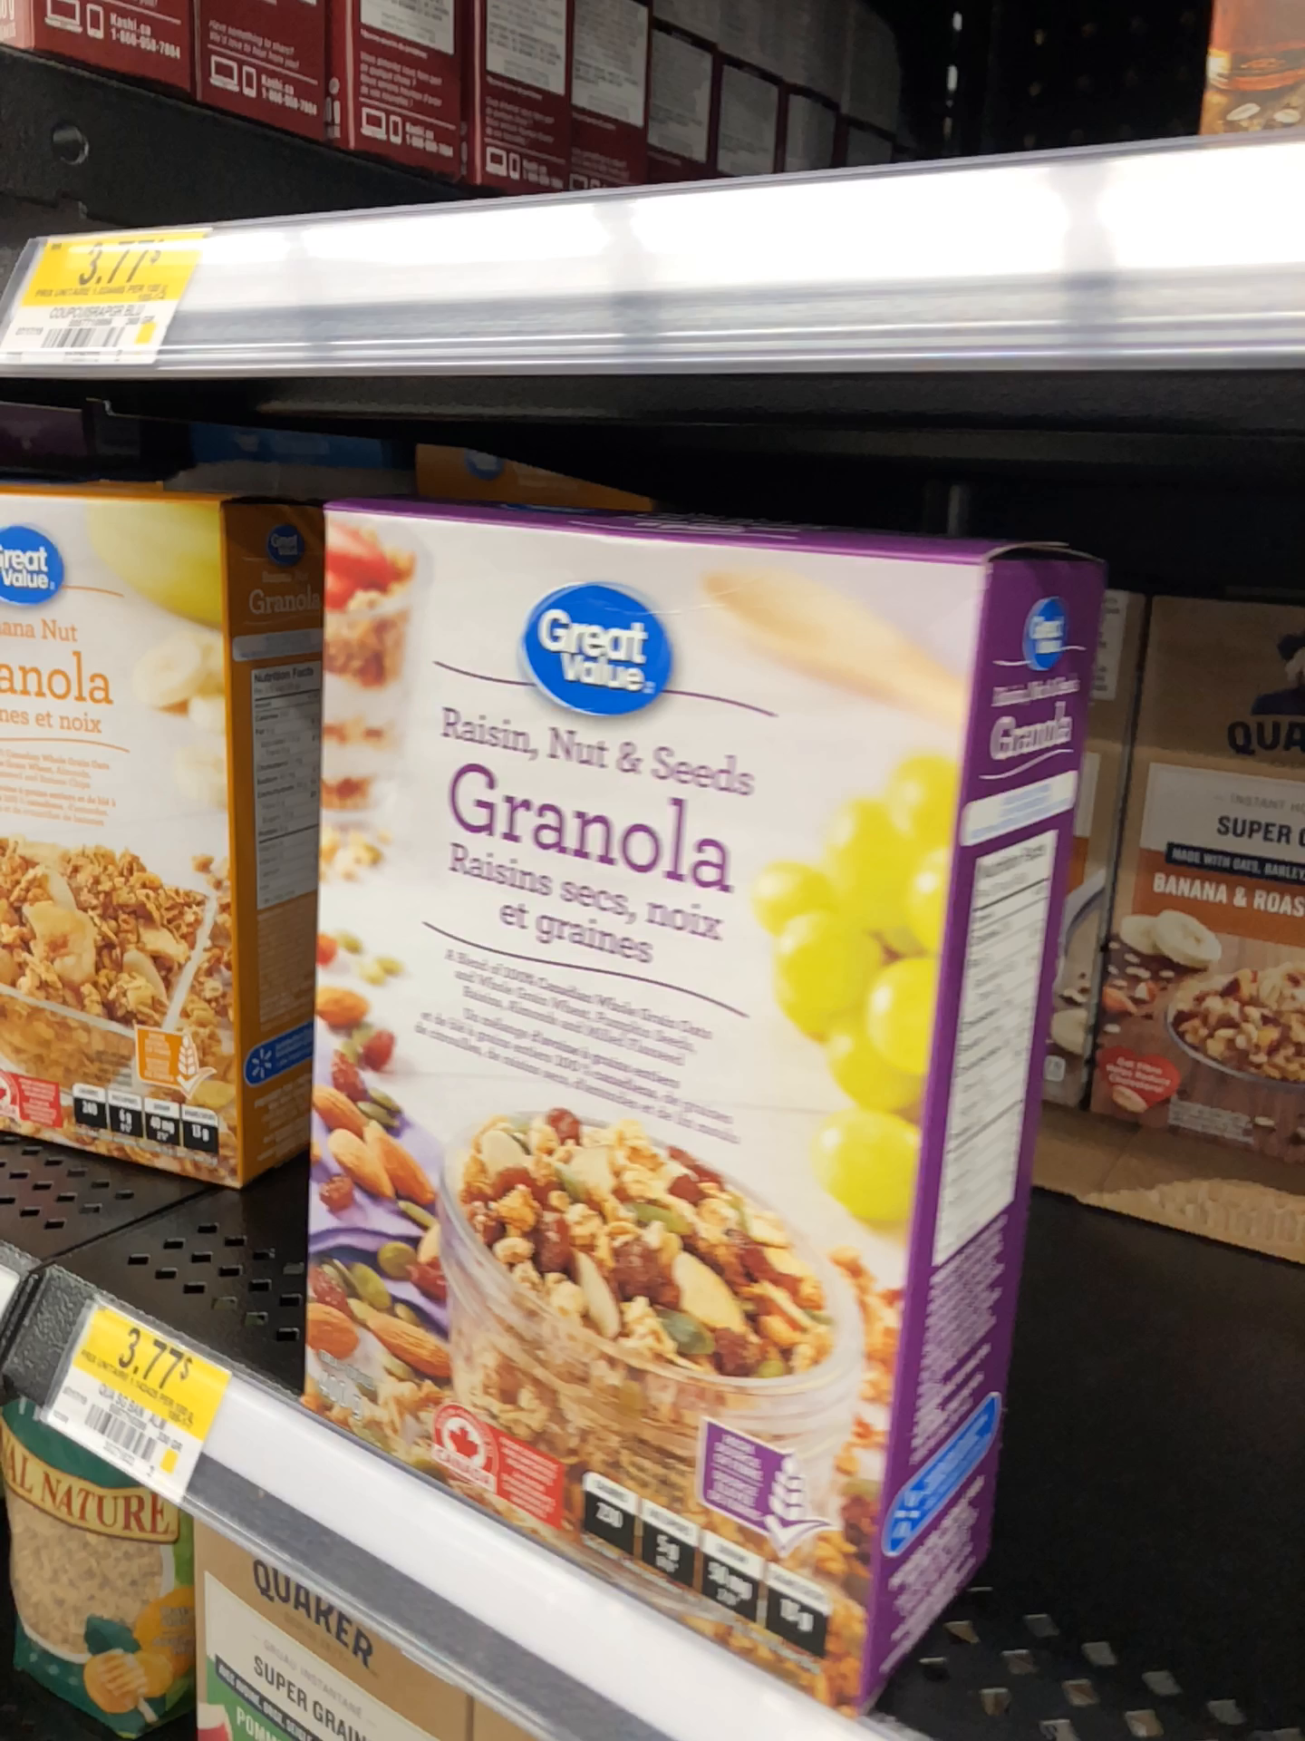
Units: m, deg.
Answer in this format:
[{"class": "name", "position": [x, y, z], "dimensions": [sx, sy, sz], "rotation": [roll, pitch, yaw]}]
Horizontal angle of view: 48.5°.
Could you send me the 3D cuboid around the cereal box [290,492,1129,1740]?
[{"class": "cereal box", "position": [0.000, 0.036, 0.313], "dimensions": [0.160, 0.219, 0.060], "rotation": [12, 15, 33]}]
